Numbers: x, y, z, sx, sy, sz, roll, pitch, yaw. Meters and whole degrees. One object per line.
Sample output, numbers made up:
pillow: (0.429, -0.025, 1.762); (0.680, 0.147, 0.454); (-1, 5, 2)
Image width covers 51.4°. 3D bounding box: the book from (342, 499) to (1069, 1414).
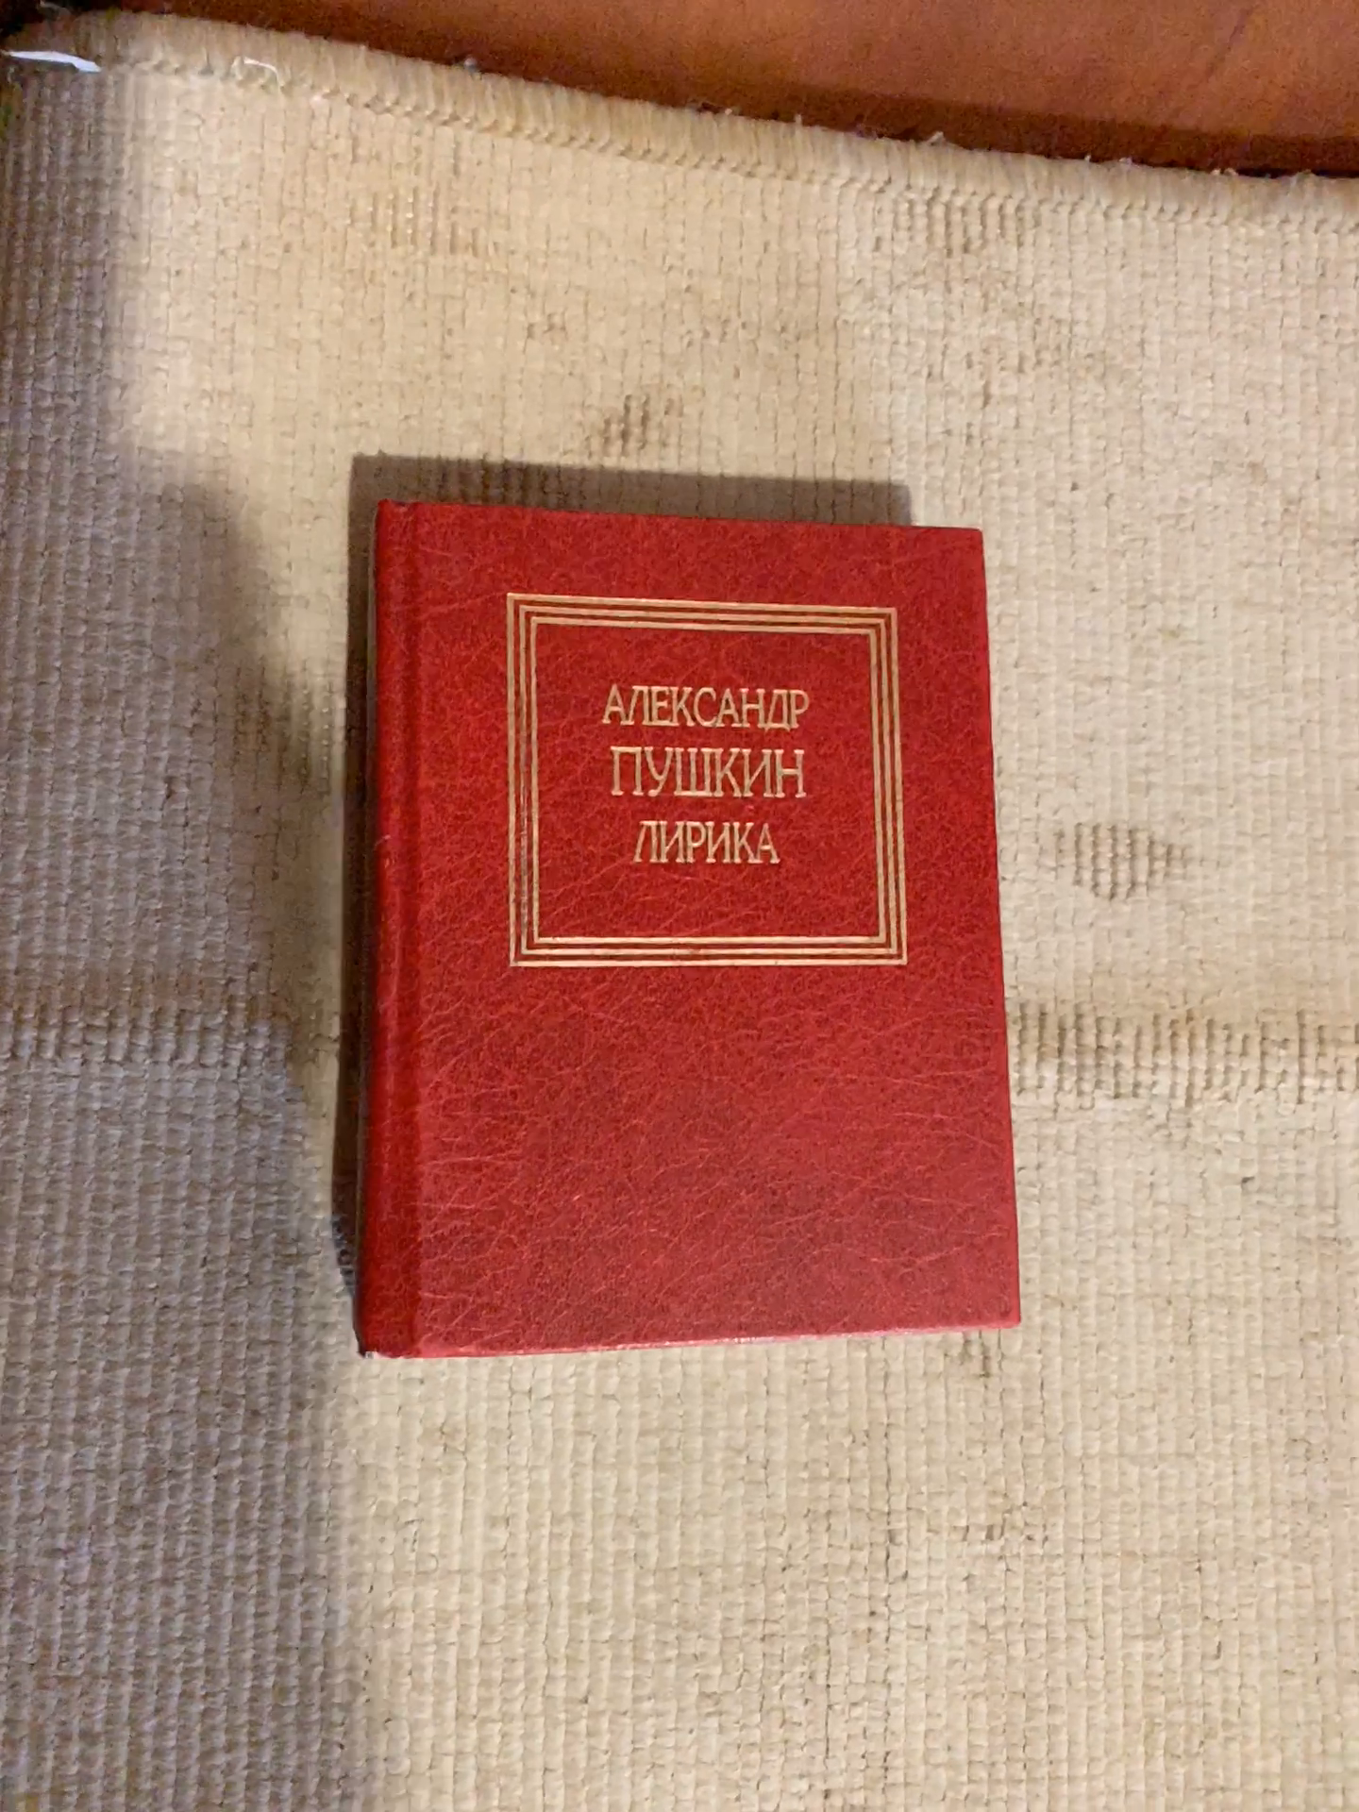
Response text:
book: (0.004, 0.008, 0.254); (0.119, 0.034, 0.148); (1, 83, -9)
